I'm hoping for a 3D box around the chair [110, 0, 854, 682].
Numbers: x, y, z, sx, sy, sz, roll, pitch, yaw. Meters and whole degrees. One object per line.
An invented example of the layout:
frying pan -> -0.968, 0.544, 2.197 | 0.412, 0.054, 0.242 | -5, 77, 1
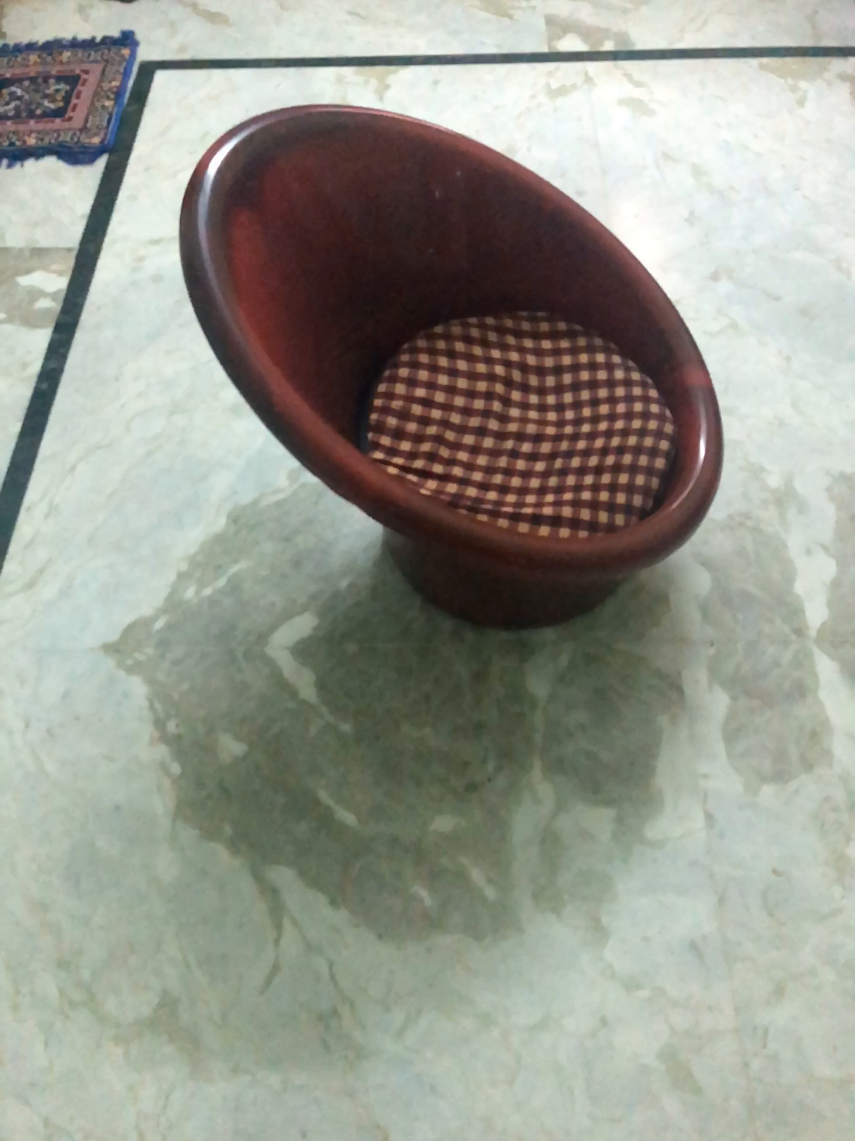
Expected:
chair -> 0.120, -0.335, 1.149 | 0.630, 0.547, 0.674 | 8, 57, 8
